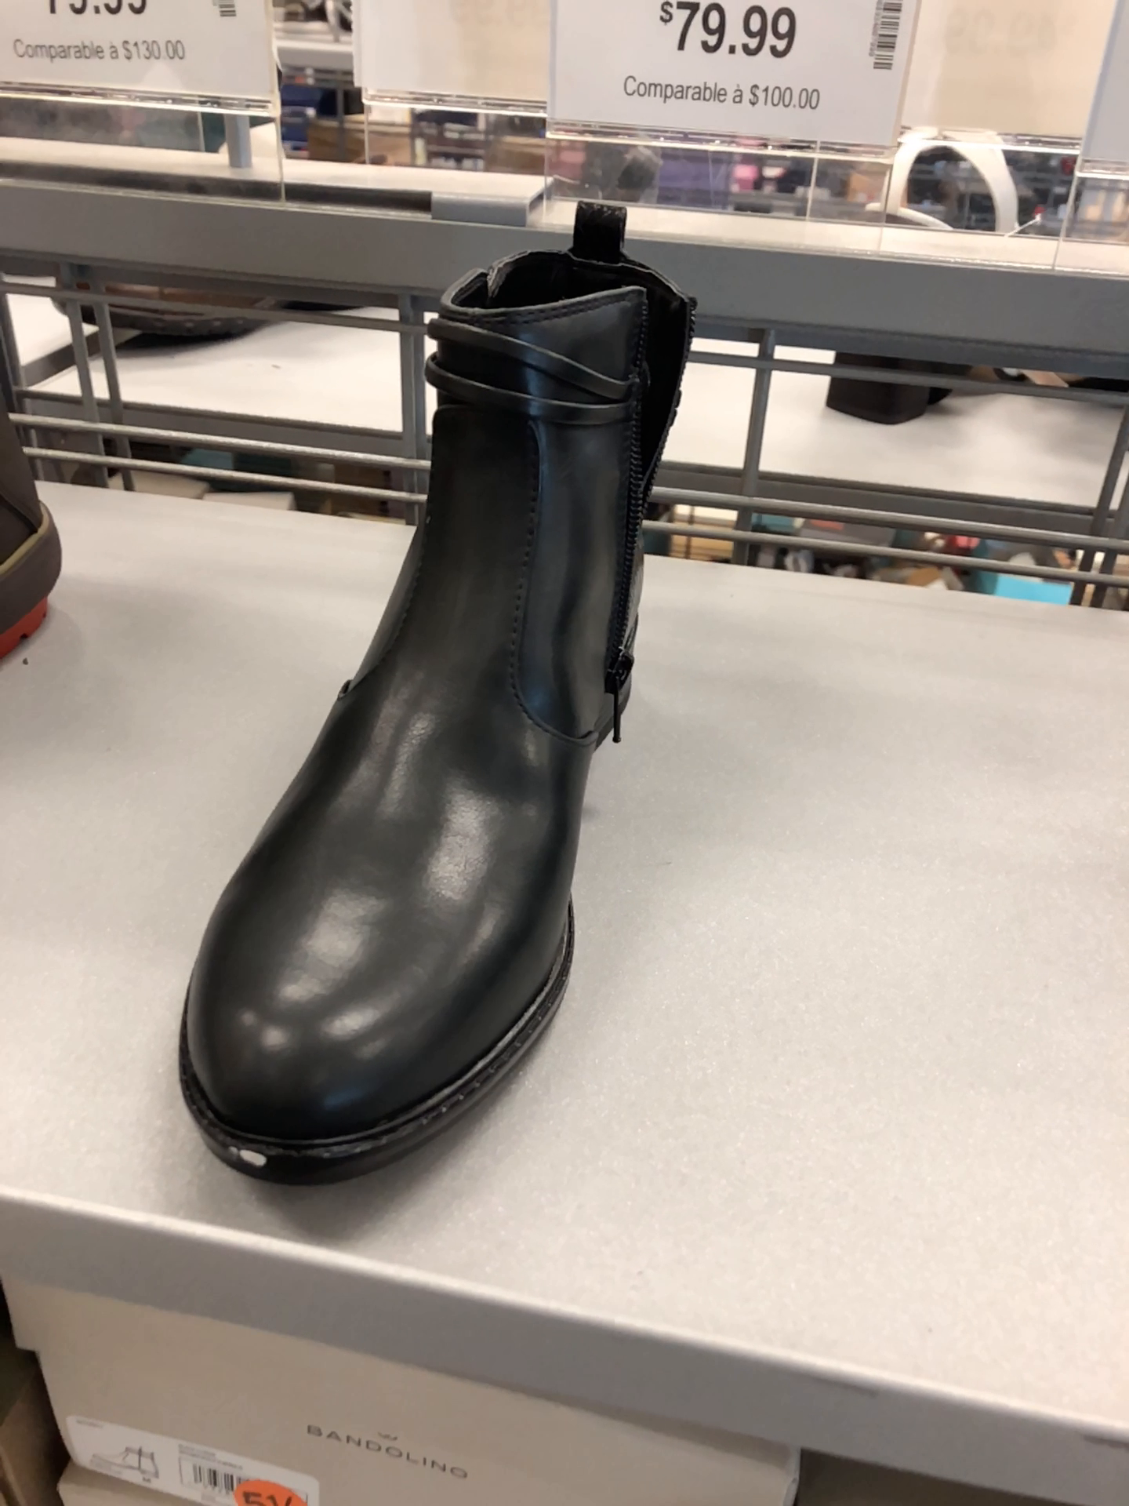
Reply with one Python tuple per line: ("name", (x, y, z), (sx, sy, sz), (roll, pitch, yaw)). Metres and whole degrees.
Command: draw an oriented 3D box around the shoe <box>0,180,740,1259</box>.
("shoe", (-0.027, -0.035, 0.299), (0.090, 0.149, 0.232), (10, 34, 11))
